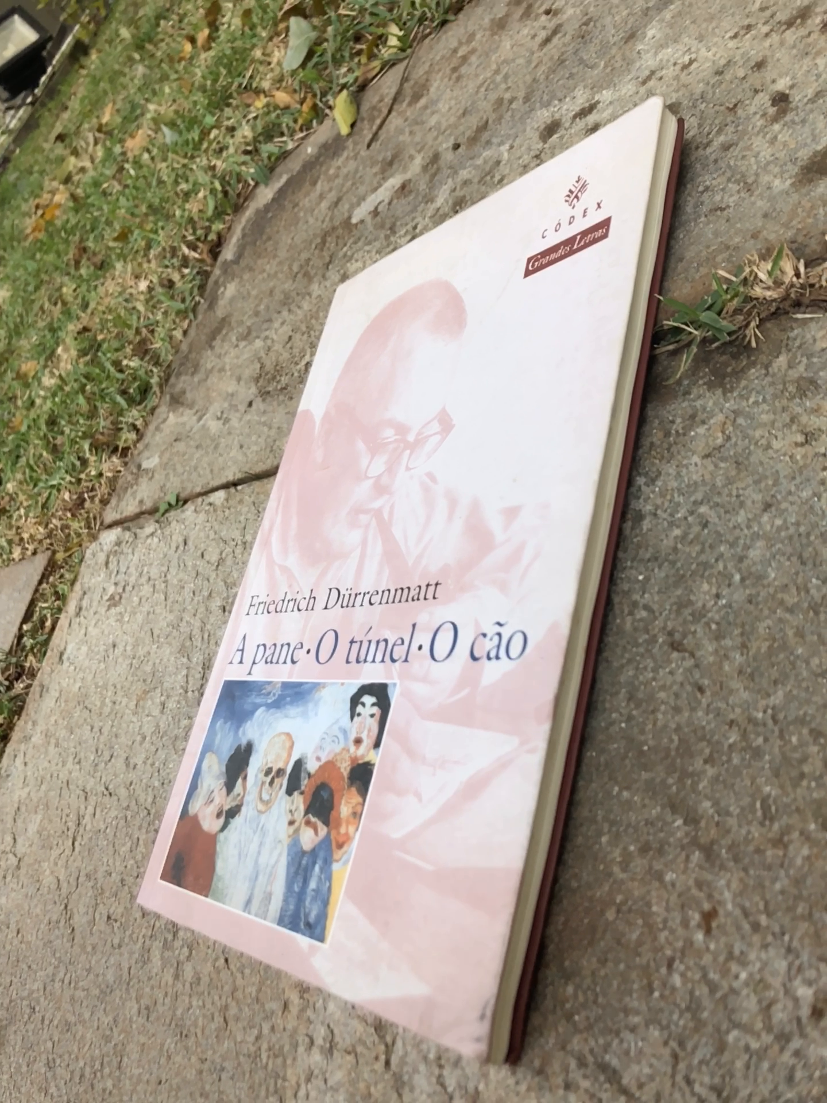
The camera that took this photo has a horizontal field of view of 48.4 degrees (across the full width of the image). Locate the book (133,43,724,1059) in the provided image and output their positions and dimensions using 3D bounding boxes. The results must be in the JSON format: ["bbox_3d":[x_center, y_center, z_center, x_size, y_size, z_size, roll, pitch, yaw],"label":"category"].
[{"bbox_3d":[-0.001,-0.009,0.236,0.138,0.020,0.210,-8,62,50],"label":"book"}]
